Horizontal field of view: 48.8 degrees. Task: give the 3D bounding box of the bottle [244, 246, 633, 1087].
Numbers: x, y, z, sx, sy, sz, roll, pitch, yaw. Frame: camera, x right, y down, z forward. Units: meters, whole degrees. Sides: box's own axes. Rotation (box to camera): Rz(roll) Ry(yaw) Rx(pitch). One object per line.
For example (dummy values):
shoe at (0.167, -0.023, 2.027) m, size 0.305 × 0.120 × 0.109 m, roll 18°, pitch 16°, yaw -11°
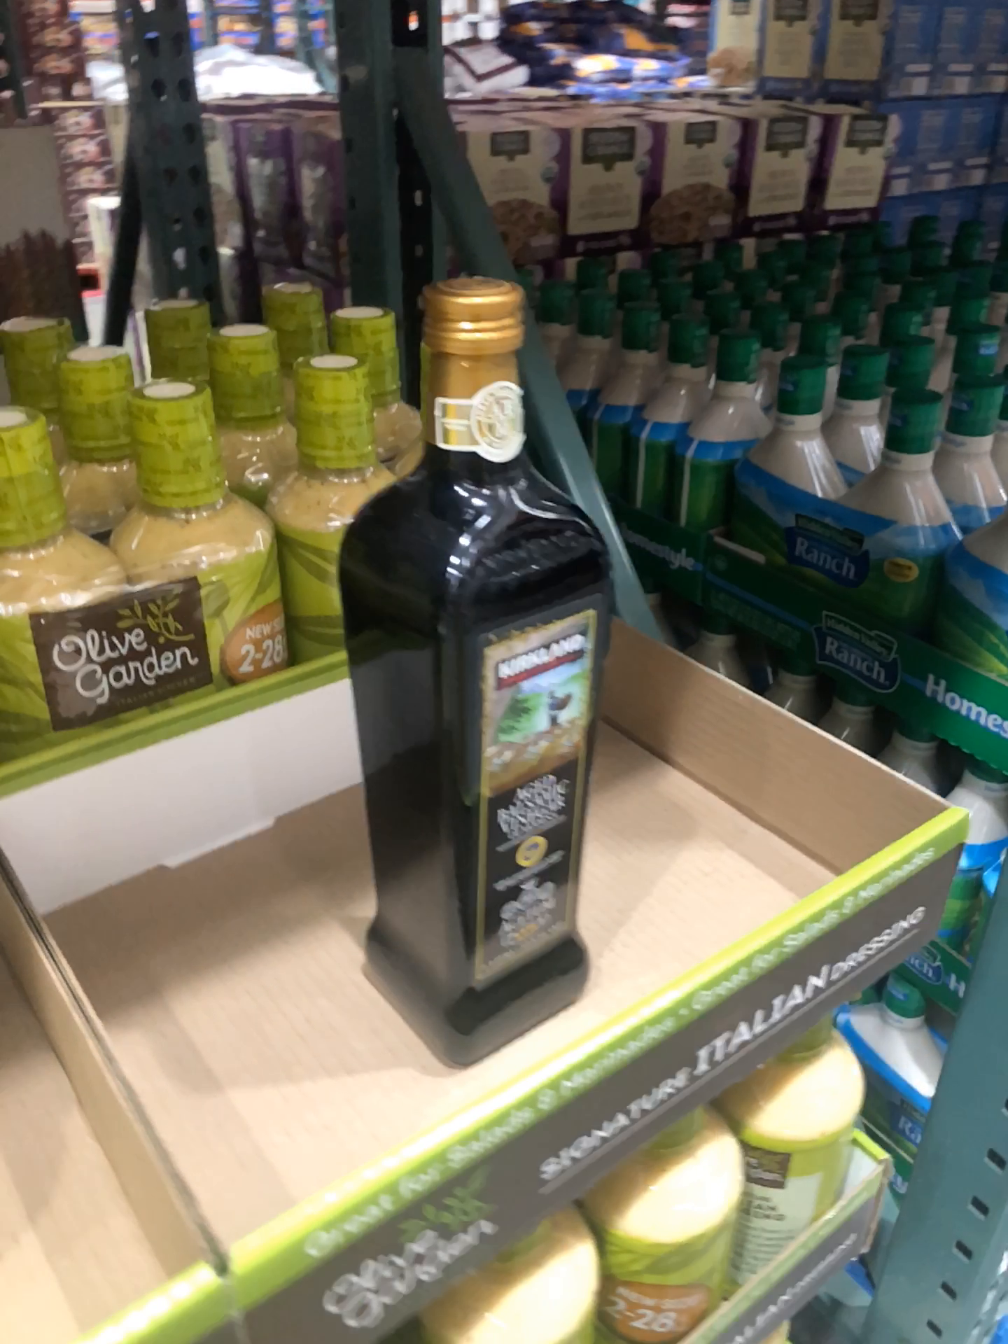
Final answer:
bottle at (-0.023, 0.006, 0.435) m, size 0.090 × 0.305 × 0.090 m, roll 0°, pitch 30°, yaw 0°
